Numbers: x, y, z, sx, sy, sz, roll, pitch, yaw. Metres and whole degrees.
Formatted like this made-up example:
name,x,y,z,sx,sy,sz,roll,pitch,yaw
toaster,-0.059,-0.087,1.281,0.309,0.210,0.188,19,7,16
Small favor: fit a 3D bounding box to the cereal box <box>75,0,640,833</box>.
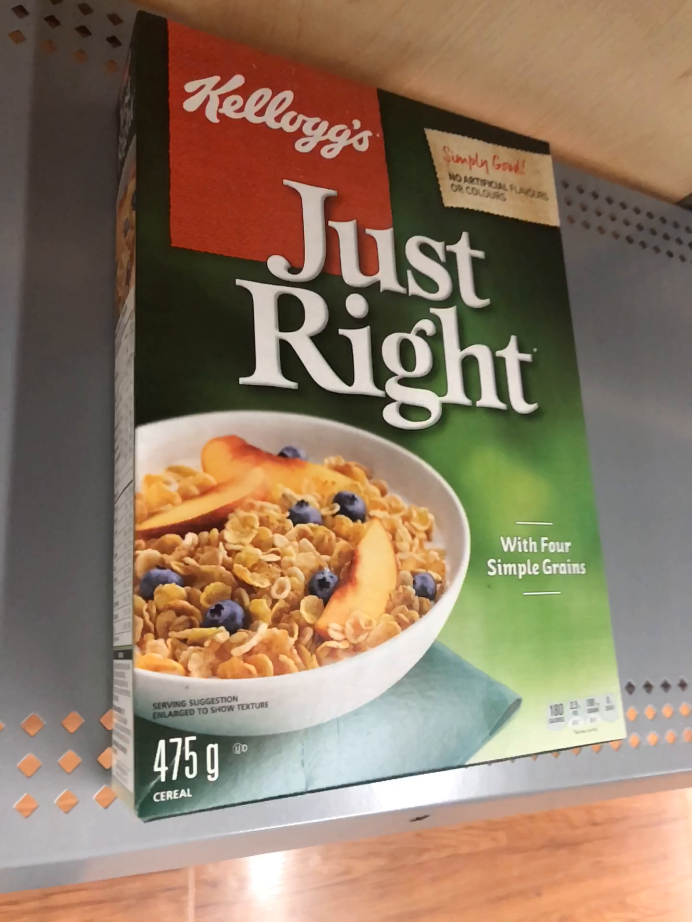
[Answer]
name,x,y,z,sx,sy,sz,roll,pitch,yaw
cereal box,0.003,-0.020,0.307,0.200,0.060,0.270,3,74,-28
